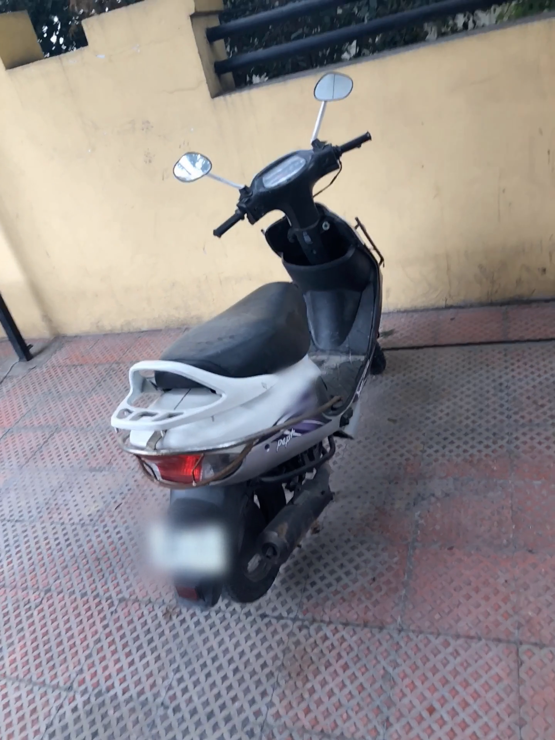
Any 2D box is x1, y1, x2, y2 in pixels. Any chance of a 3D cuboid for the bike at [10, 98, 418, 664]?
[{"bbox_3d":[0.022,-0.098,2.041,0.600,1.081,1.480,-2,34,22],"label":"bike"}]
